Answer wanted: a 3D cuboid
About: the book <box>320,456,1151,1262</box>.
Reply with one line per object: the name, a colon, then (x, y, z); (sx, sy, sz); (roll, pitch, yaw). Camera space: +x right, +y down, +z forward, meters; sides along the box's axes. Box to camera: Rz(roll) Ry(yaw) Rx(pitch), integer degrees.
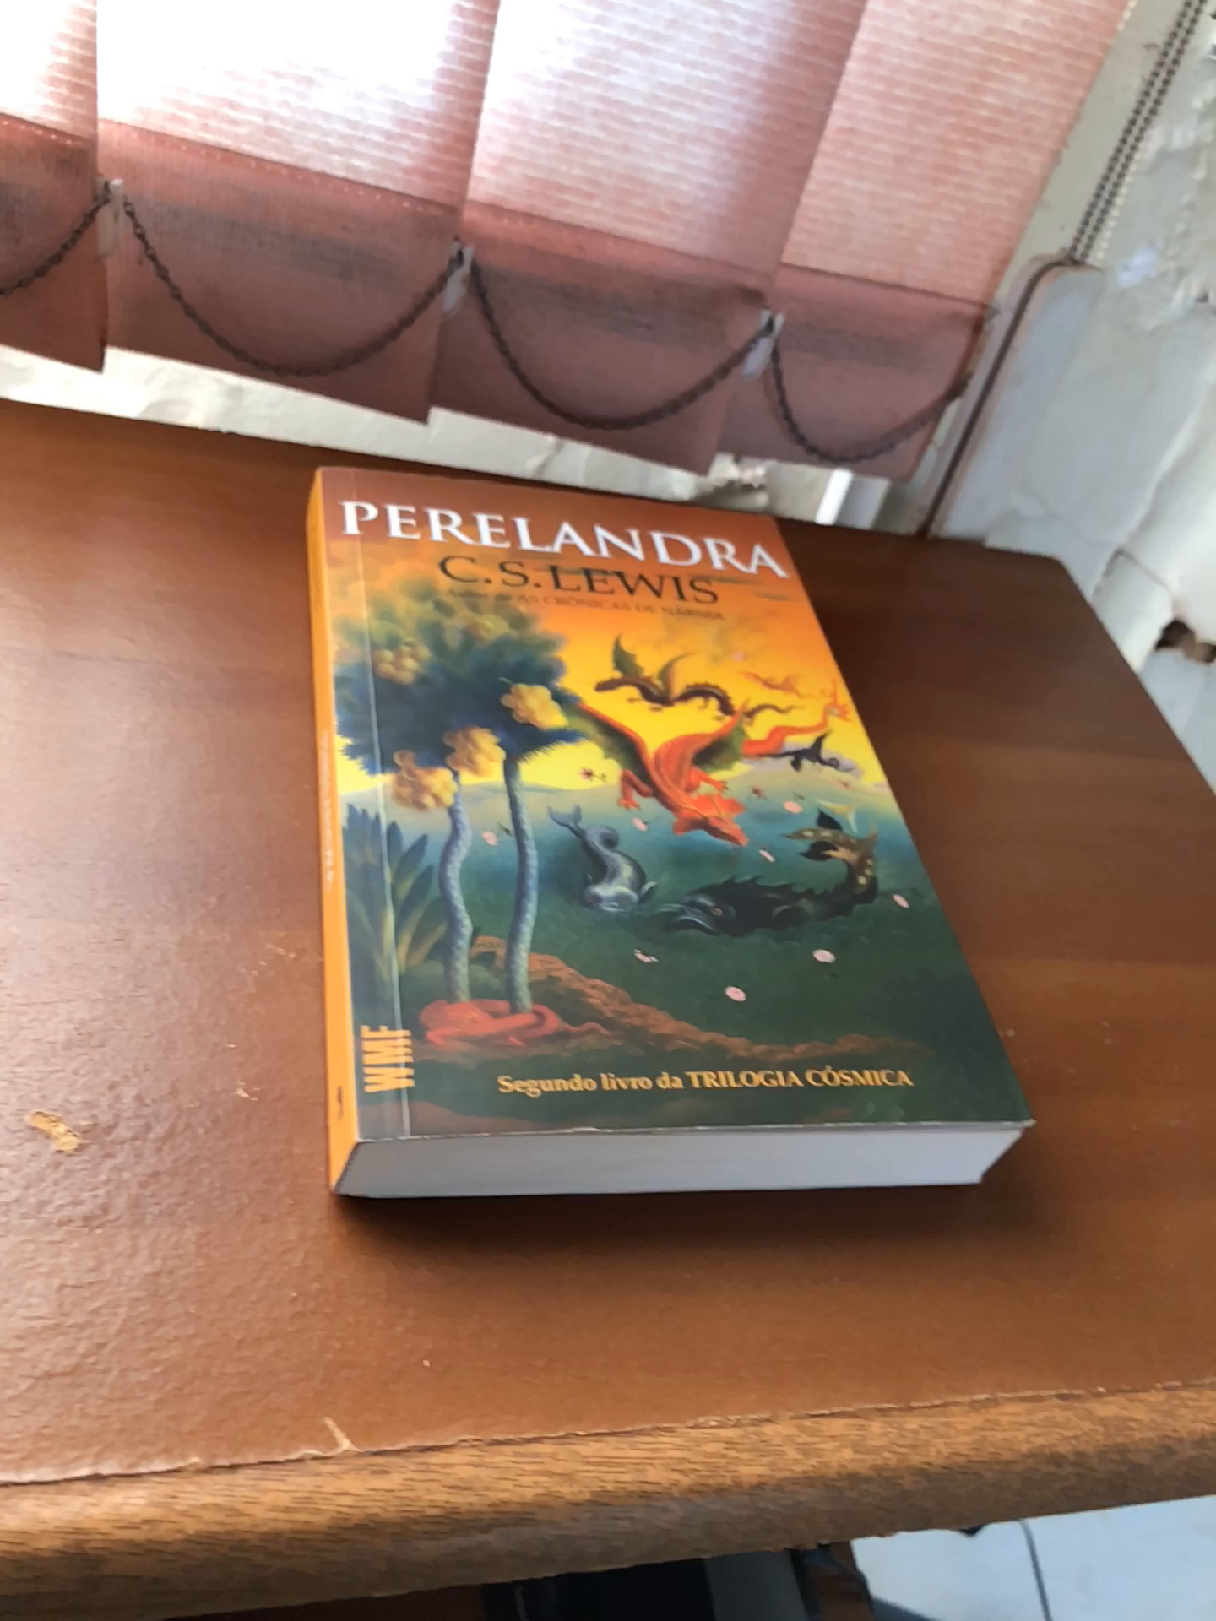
book: (0.010, -0.005, 0.288); (0.130, 0.030, 0.191); (3, 44, -17)
